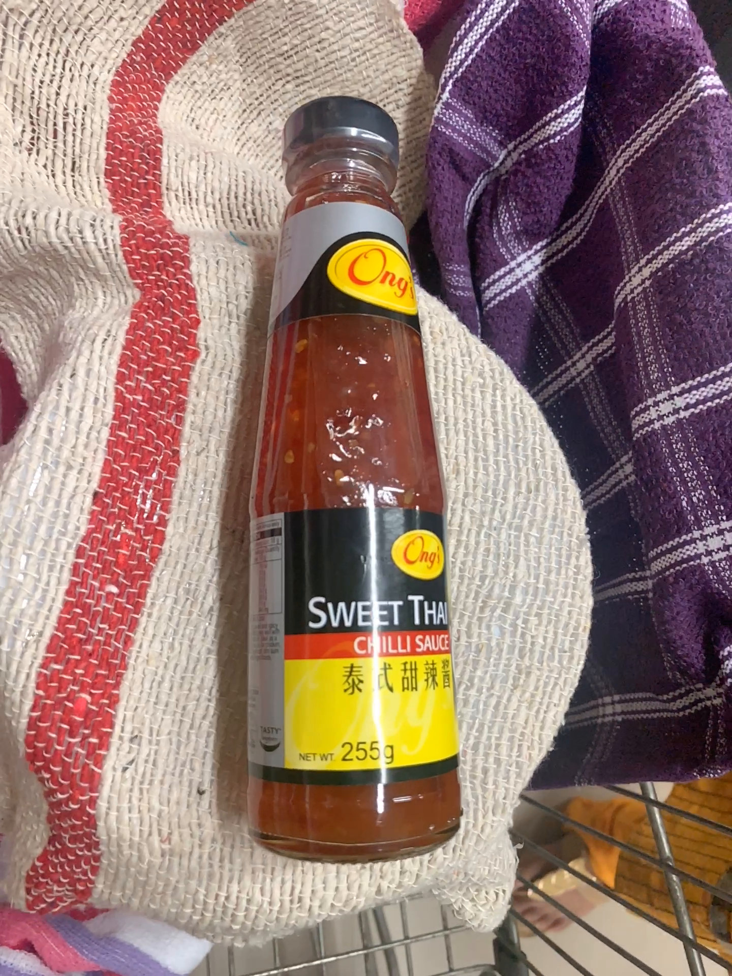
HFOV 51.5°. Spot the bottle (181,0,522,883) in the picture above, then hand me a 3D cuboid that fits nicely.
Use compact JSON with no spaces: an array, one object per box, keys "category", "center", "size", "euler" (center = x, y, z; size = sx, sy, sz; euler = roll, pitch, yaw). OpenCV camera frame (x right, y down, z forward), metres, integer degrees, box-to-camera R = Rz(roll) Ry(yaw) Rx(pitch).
[{"category":"bottle","center":[-0.002,-0.016,0.190],"size":[0.060,0.050,0.190],"euler":[9,77,-41]}]
